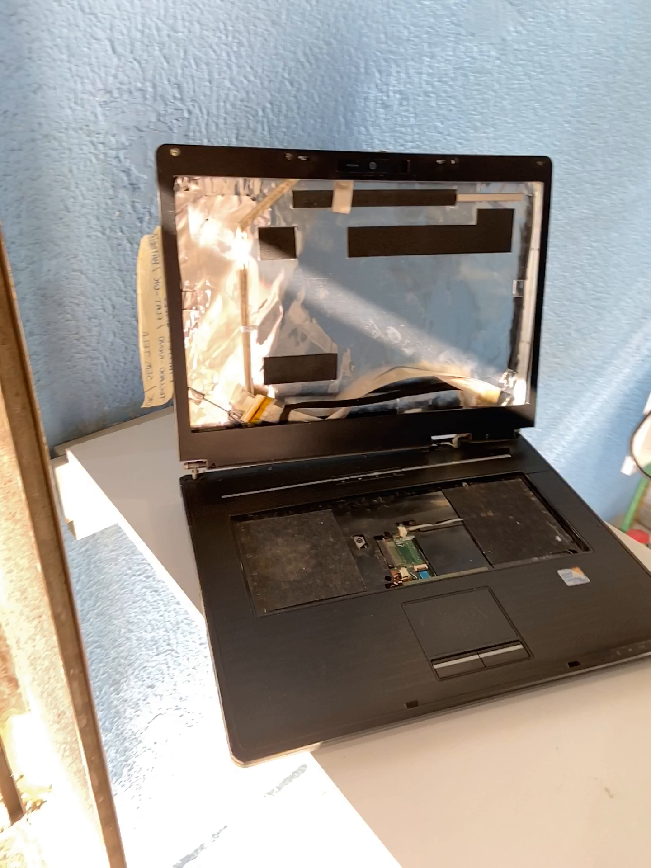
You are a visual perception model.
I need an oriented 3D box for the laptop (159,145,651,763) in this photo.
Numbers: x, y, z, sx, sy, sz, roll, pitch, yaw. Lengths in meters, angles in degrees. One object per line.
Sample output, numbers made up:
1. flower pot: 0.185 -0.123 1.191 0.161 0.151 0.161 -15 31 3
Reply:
1. laptop: 0.076 -0.037 0.508 0.353 0.261 0.351 -6 36 -15
